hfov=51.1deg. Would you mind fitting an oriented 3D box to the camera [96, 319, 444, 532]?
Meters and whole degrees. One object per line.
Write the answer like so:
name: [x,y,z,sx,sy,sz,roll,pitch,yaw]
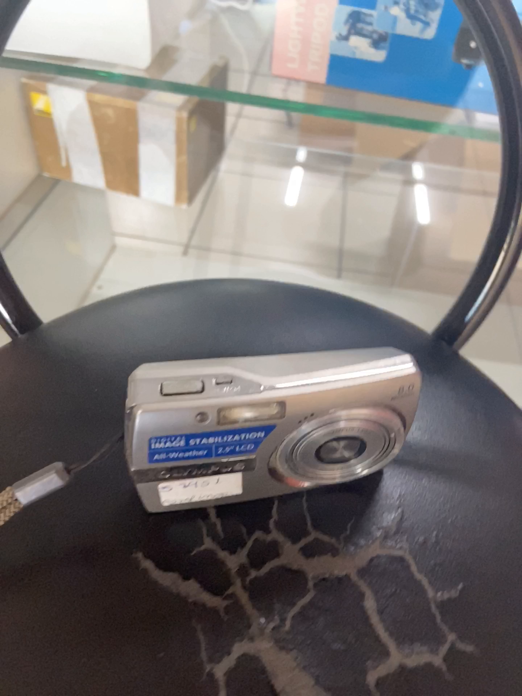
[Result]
camera: [0.001,0.027,0.185,0.100,0.060,0.030,-6,47,-11]
